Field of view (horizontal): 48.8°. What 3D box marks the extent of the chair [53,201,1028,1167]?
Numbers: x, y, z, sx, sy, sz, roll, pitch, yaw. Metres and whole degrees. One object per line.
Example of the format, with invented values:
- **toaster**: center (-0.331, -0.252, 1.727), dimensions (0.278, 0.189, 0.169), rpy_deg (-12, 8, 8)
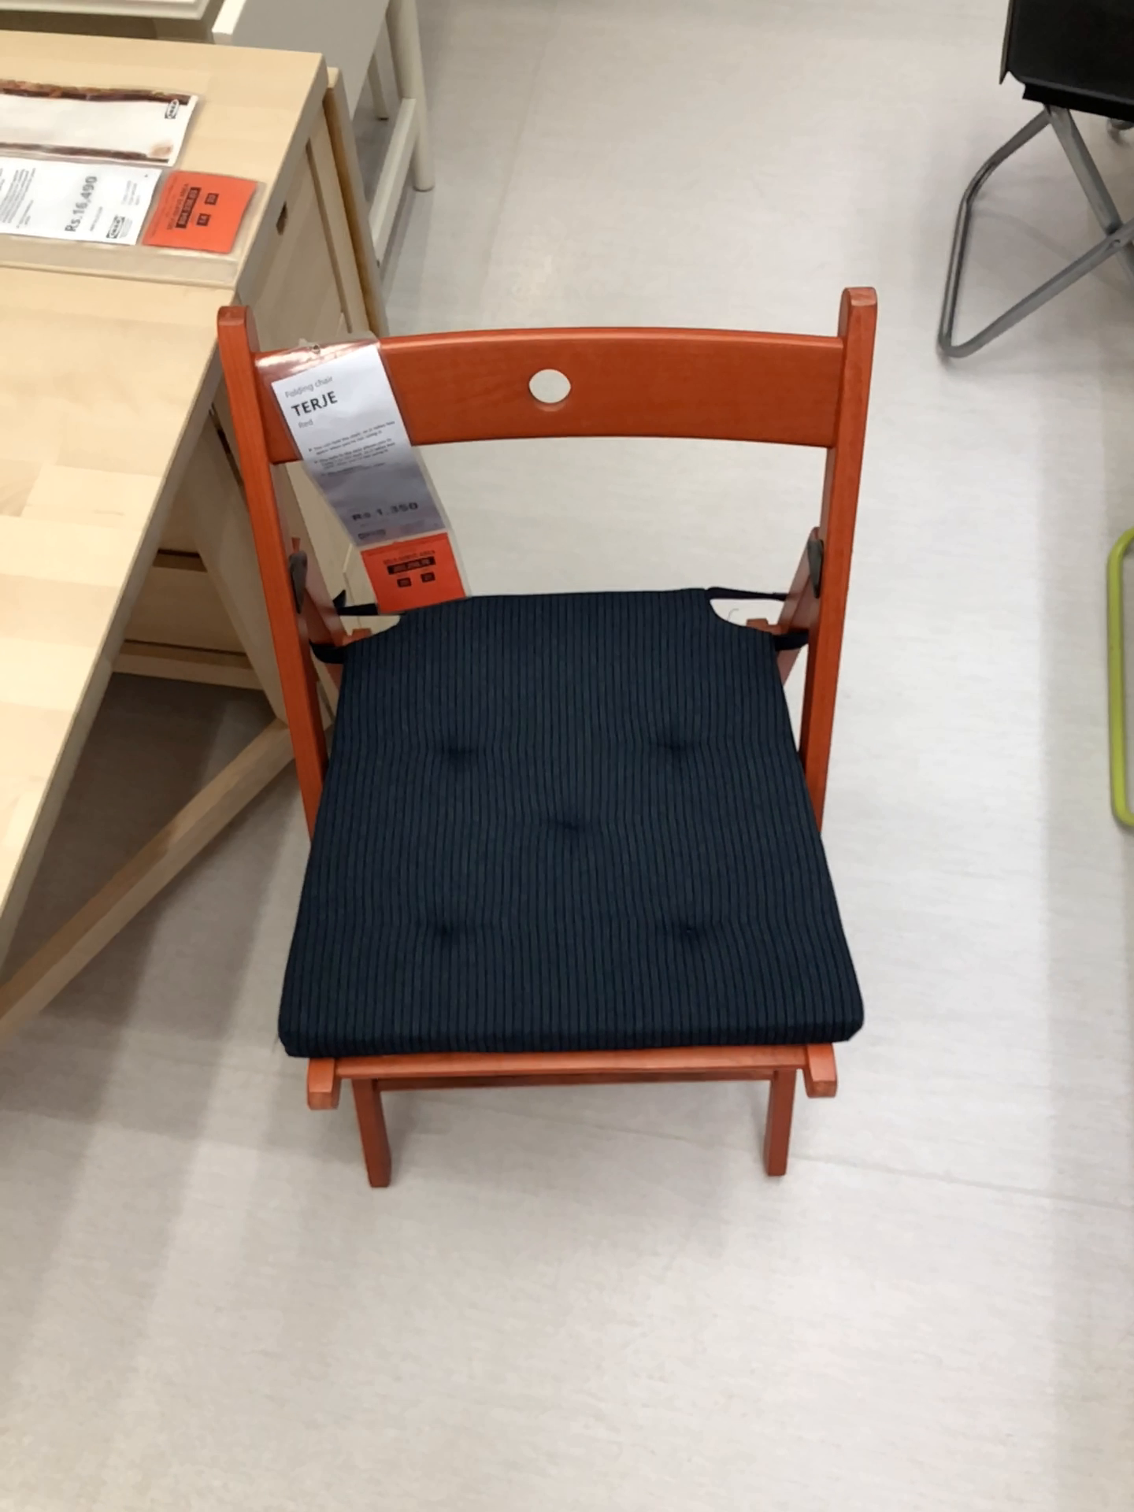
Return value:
- **chair**: center (-0.009, 0.020, 1.037), dimensions (0.470, 0.717, 0.502), rpy_deg (-1, 63, 1)
